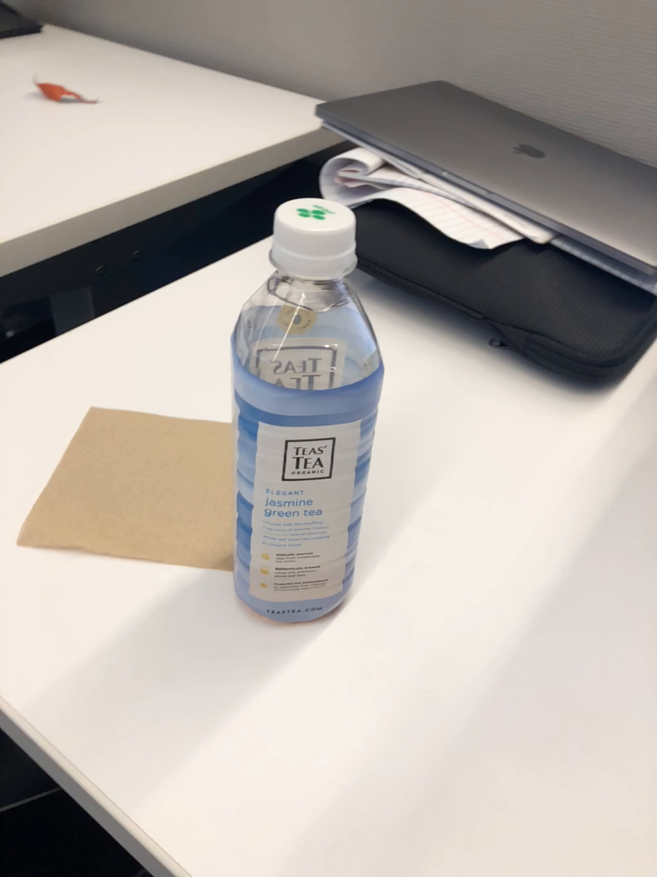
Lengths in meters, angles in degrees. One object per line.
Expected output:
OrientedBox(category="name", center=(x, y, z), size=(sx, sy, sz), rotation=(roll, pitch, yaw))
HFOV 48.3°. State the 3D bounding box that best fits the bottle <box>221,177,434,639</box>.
OrientedBox(category="bottle", center=(-0.011, -0.004, 0.340), size=(0.070, 0.209, 0.070), rotation=(3, 38, -3))
